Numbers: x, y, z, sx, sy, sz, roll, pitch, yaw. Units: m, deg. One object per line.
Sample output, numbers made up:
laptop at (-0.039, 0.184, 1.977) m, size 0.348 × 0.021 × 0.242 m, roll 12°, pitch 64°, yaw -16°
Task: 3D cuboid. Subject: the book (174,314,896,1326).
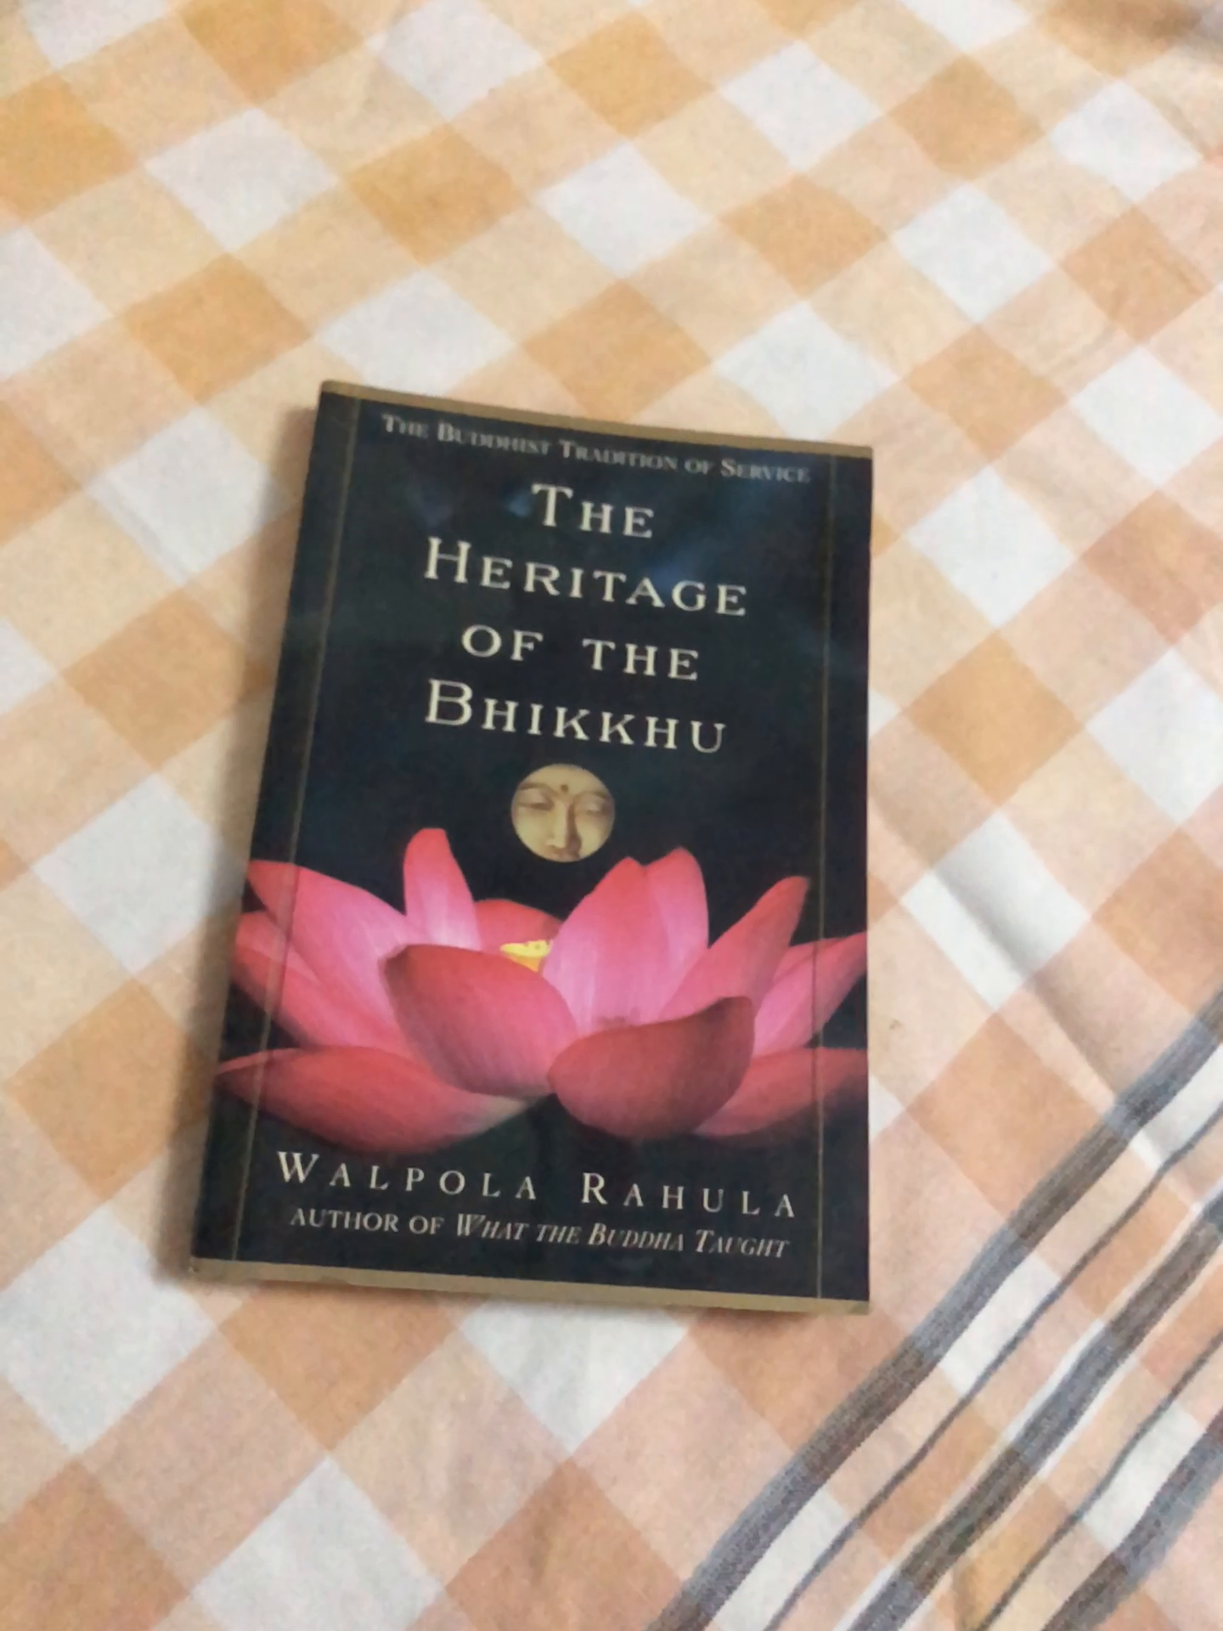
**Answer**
book at (-0.009, -0.004, 0.313) m, size 0.140 × 0.030 × 0.220 m, roll 6°, pitch 71°, yaw -8°
